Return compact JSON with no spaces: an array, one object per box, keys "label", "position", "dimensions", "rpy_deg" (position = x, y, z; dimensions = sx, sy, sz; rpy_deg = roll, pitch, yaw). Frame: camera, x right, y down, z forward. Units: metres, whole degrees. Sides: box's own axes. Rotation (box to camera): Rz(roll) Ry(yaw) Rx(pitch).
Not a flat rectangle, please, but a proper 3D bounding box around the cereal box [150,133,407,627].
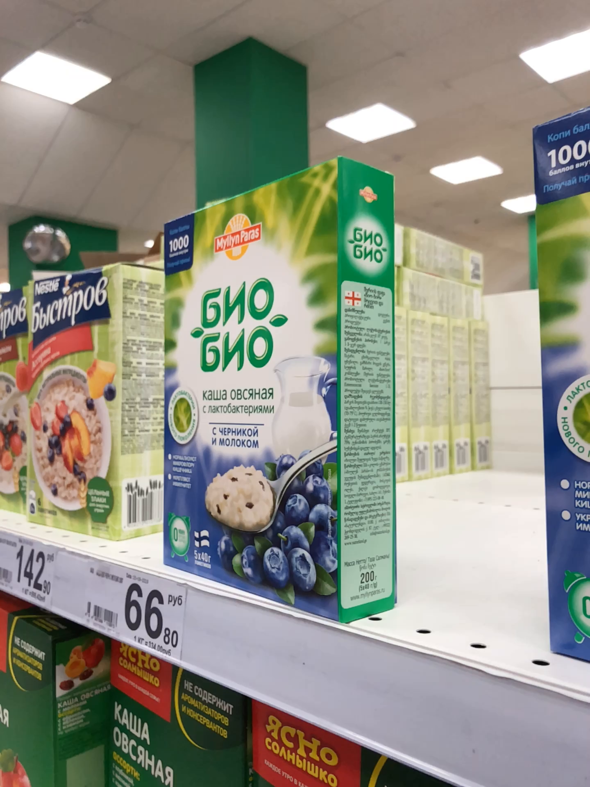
[{"label":"cereal box","position":[-0.017,-0.006,0.351],"dimensions":[0.040,0.210,0.160],"rpy_deg":[2,-3,-42]}]
